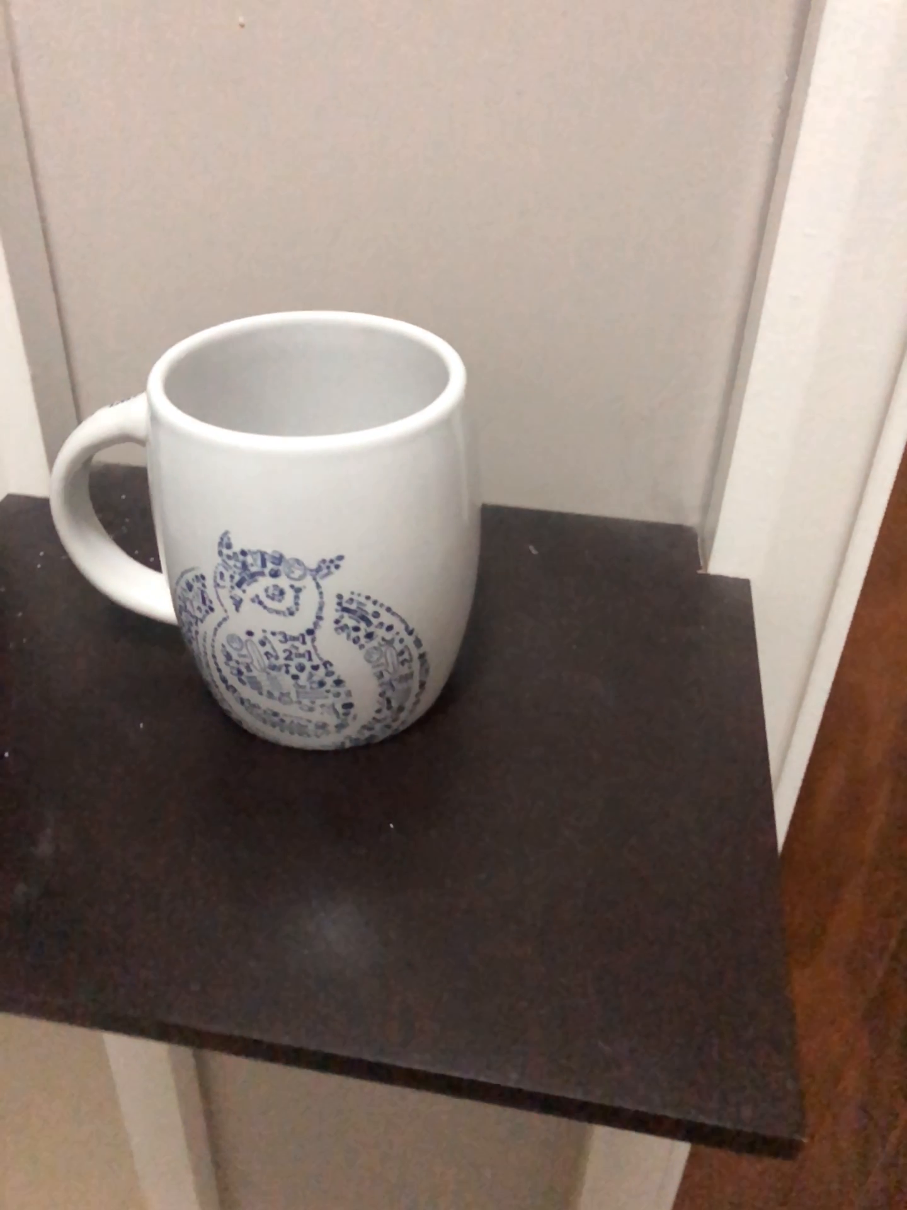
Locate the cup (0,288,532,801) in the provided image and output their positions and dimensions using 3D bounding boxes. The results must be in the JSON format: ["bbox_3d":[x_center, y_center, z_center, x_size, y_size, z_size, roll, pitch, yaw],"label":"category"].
[{"bbox_3d":[-0.053,-0.023,0.267,0.130,0.079,0.101,8,34,9],"label":"cup"}]
